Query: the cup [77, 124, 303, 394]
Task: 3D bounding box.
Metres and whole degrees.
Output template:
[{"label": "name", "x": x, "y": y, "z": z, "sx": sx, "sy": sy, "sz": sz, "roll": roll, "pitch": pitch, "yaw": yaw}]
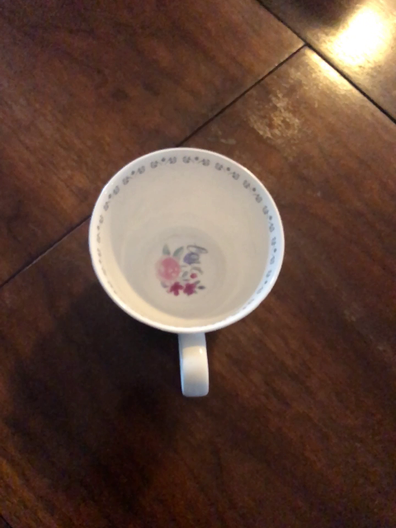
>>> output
[{"label": "cup", "x": -0.010, "y": -0.002, "z": 0.291, "sx": 0.120, "sy": 0.070, "sz": 0.160, "roll": -2, "pitch": 74, "yaw": -5}]
